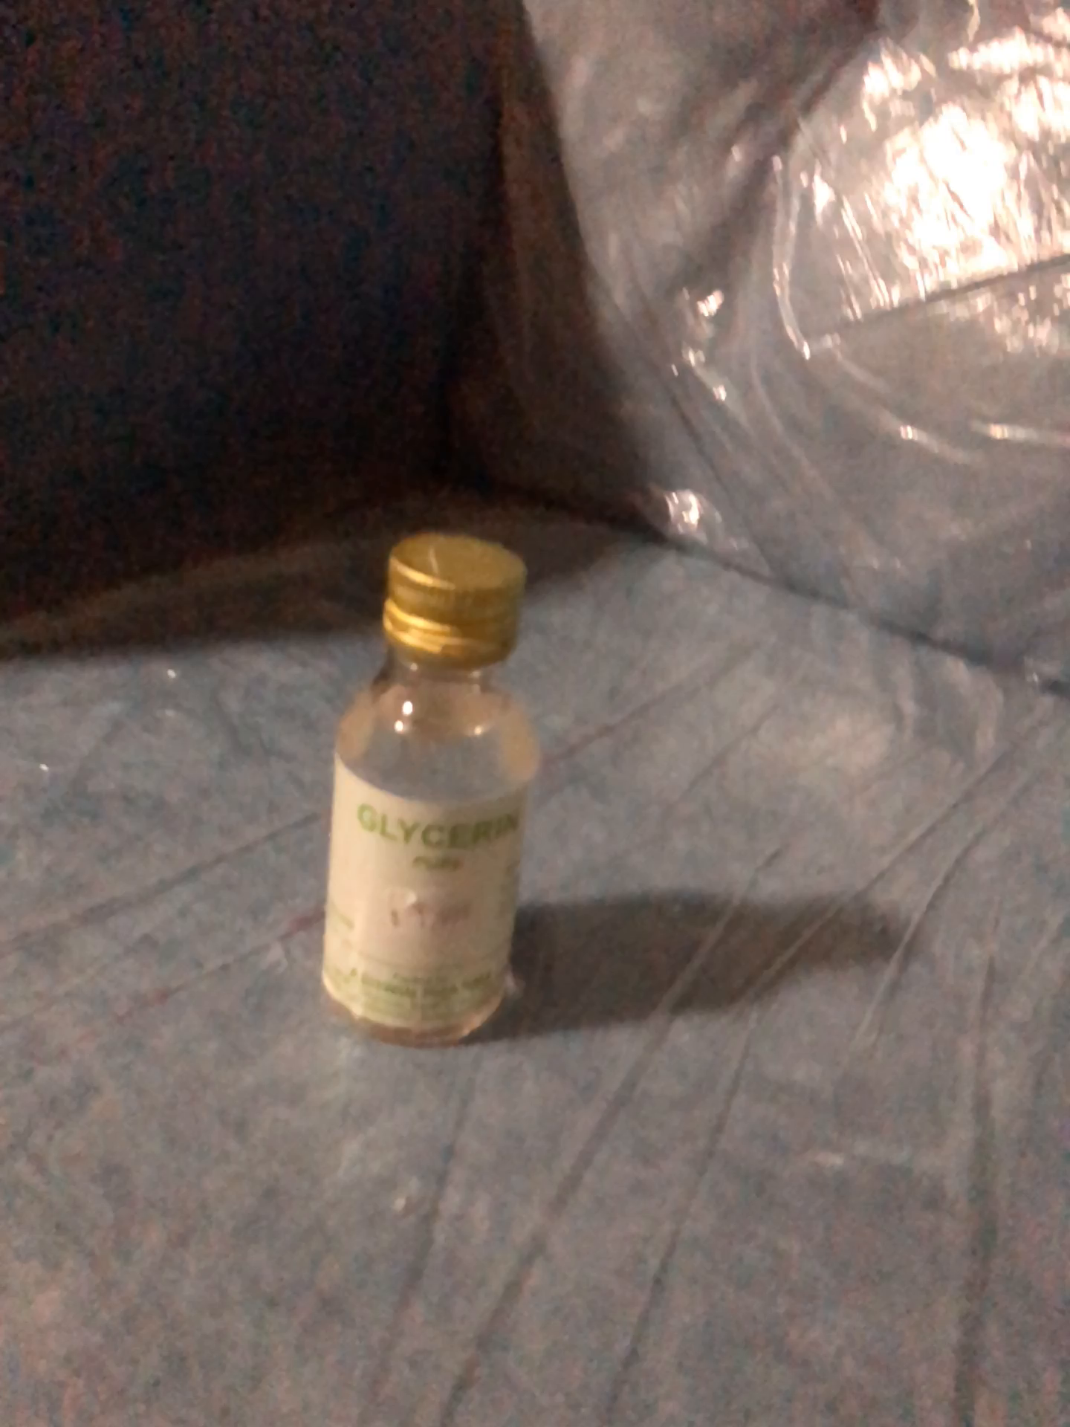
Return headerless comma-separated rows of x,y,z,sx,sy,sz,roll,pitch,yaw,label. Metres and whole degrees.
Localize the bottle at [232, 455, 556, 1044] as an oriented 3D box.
-0.026,0.008,0.231,0.050,0.100,0.050,4,30,-2,bottle
